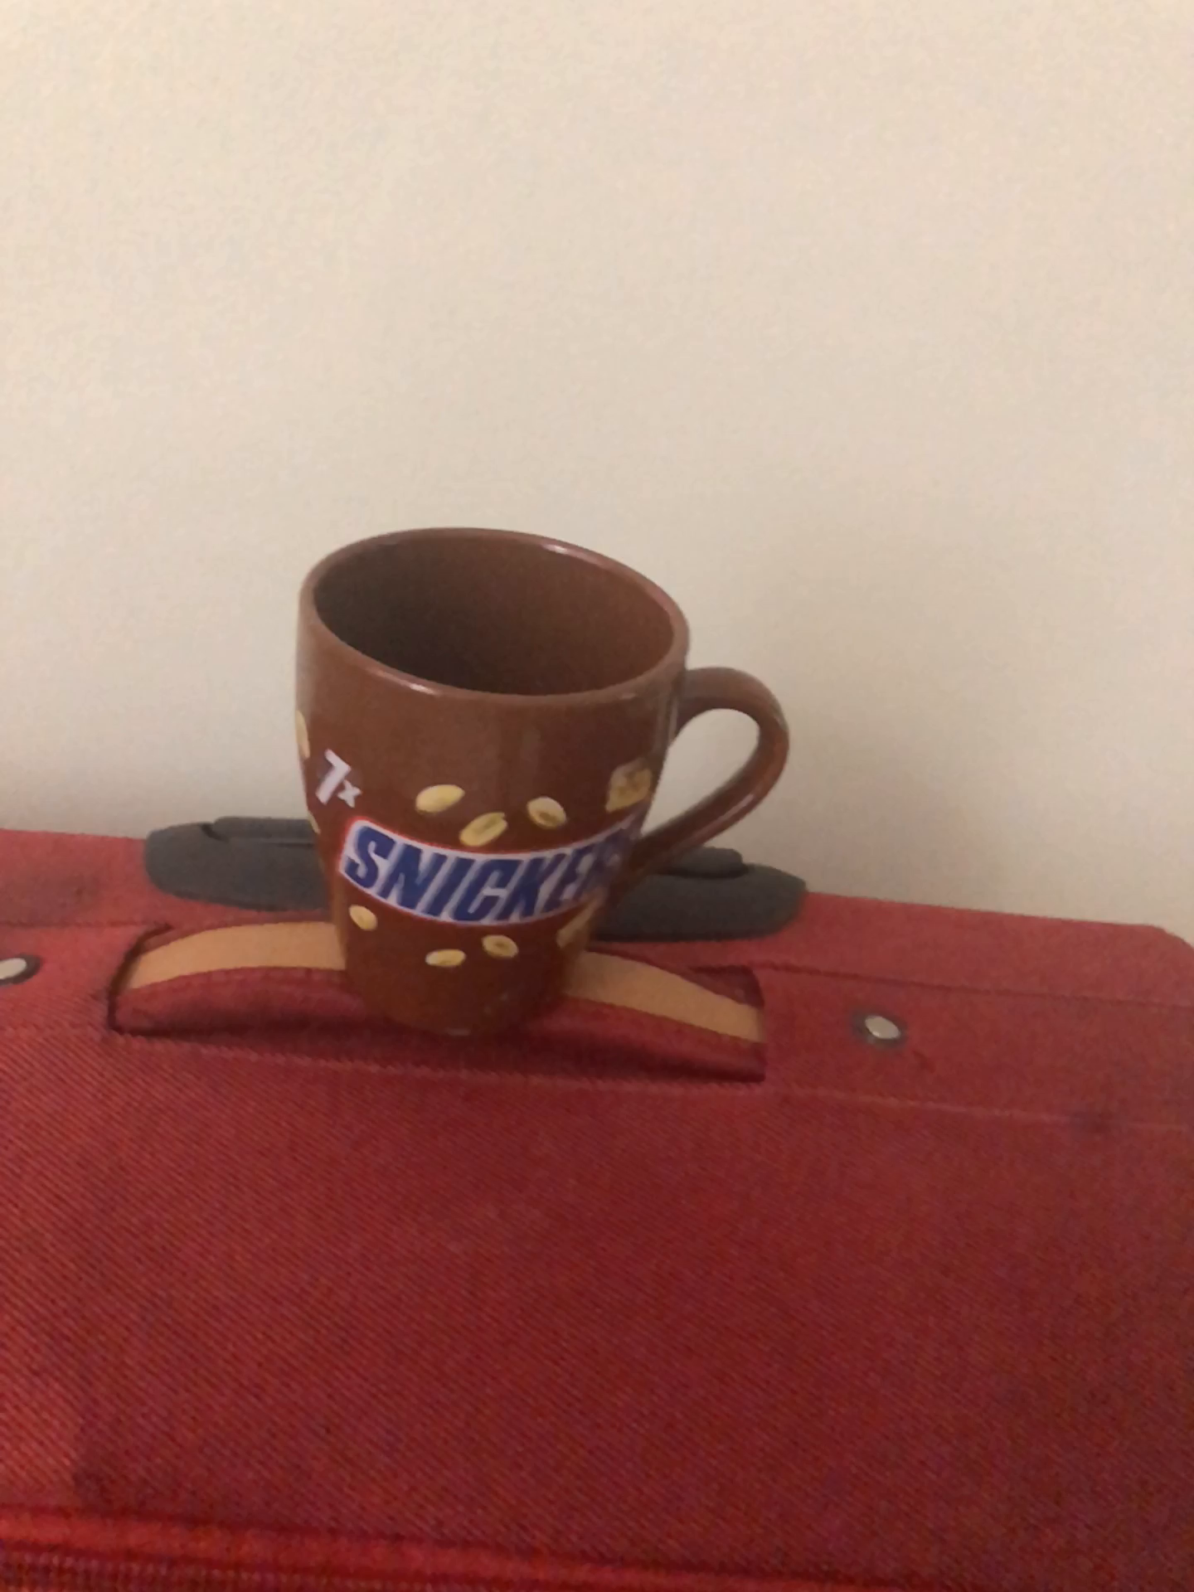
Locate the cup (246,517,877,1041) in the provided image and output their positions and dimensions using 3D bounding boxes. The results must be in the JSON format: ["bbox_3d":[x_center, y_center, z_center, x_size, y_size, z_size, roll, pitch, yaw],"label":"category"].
[{"bbox_3d":[-0.011,-0.006,0.298,0.115,0.080,0.088,1,33,-6],"label":"cup"}]
